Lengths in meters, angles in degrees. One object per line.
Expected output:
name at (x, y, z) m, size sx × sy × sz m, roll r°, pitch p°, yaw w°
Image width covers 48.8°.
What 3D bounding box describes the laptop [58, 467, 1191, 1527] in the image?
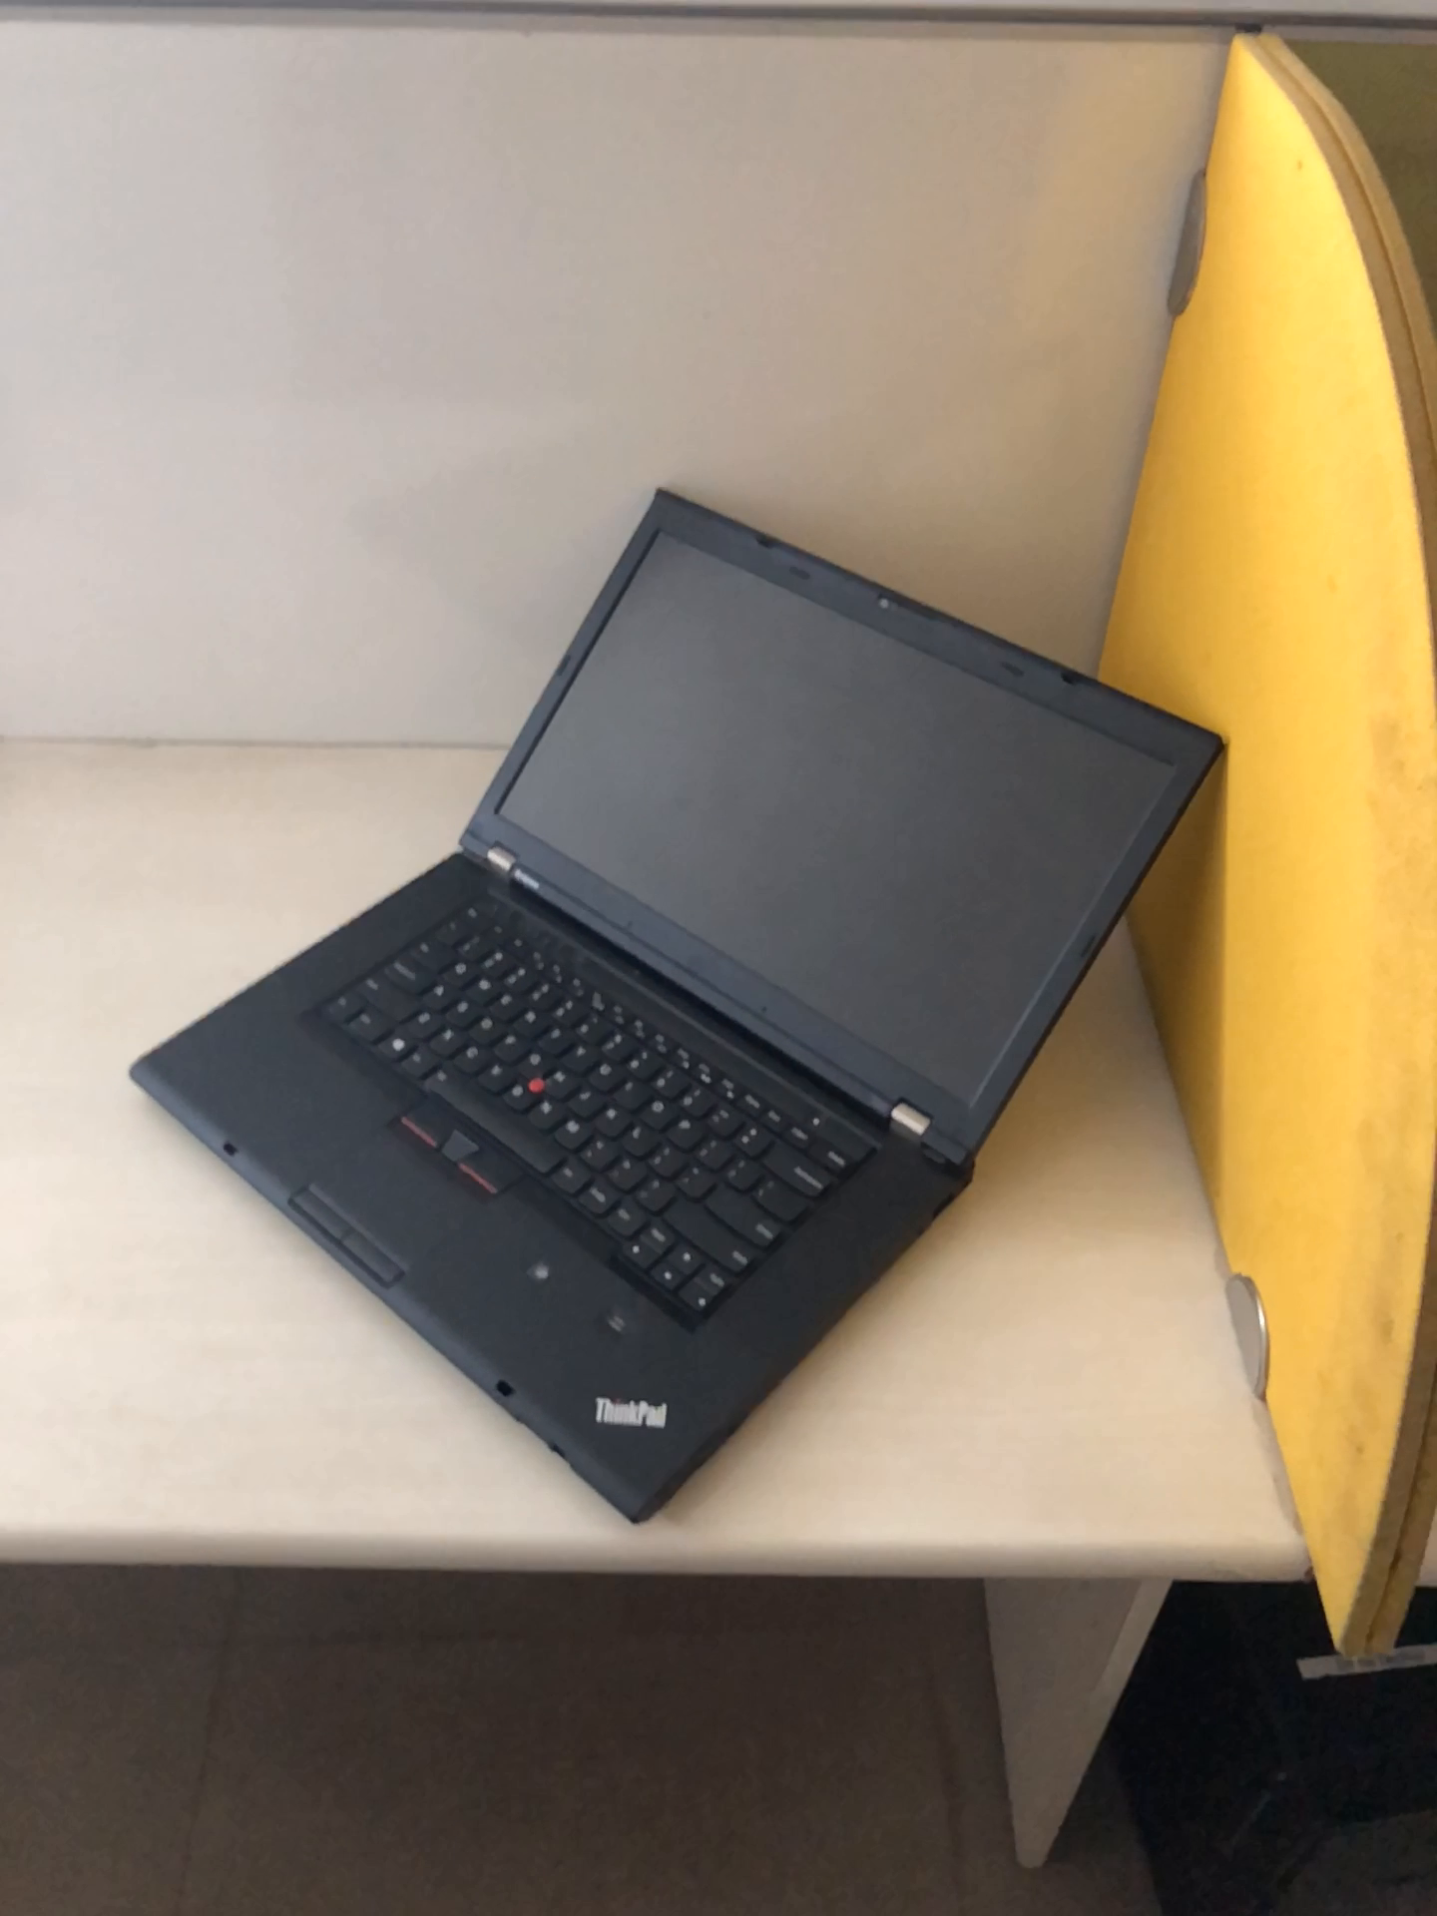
laptop at (-0.034, -0.027, 0.788) m, size 0.354 × 0.143 × 0.419 m, roll 31°, pitch 55°, yaw 26°
